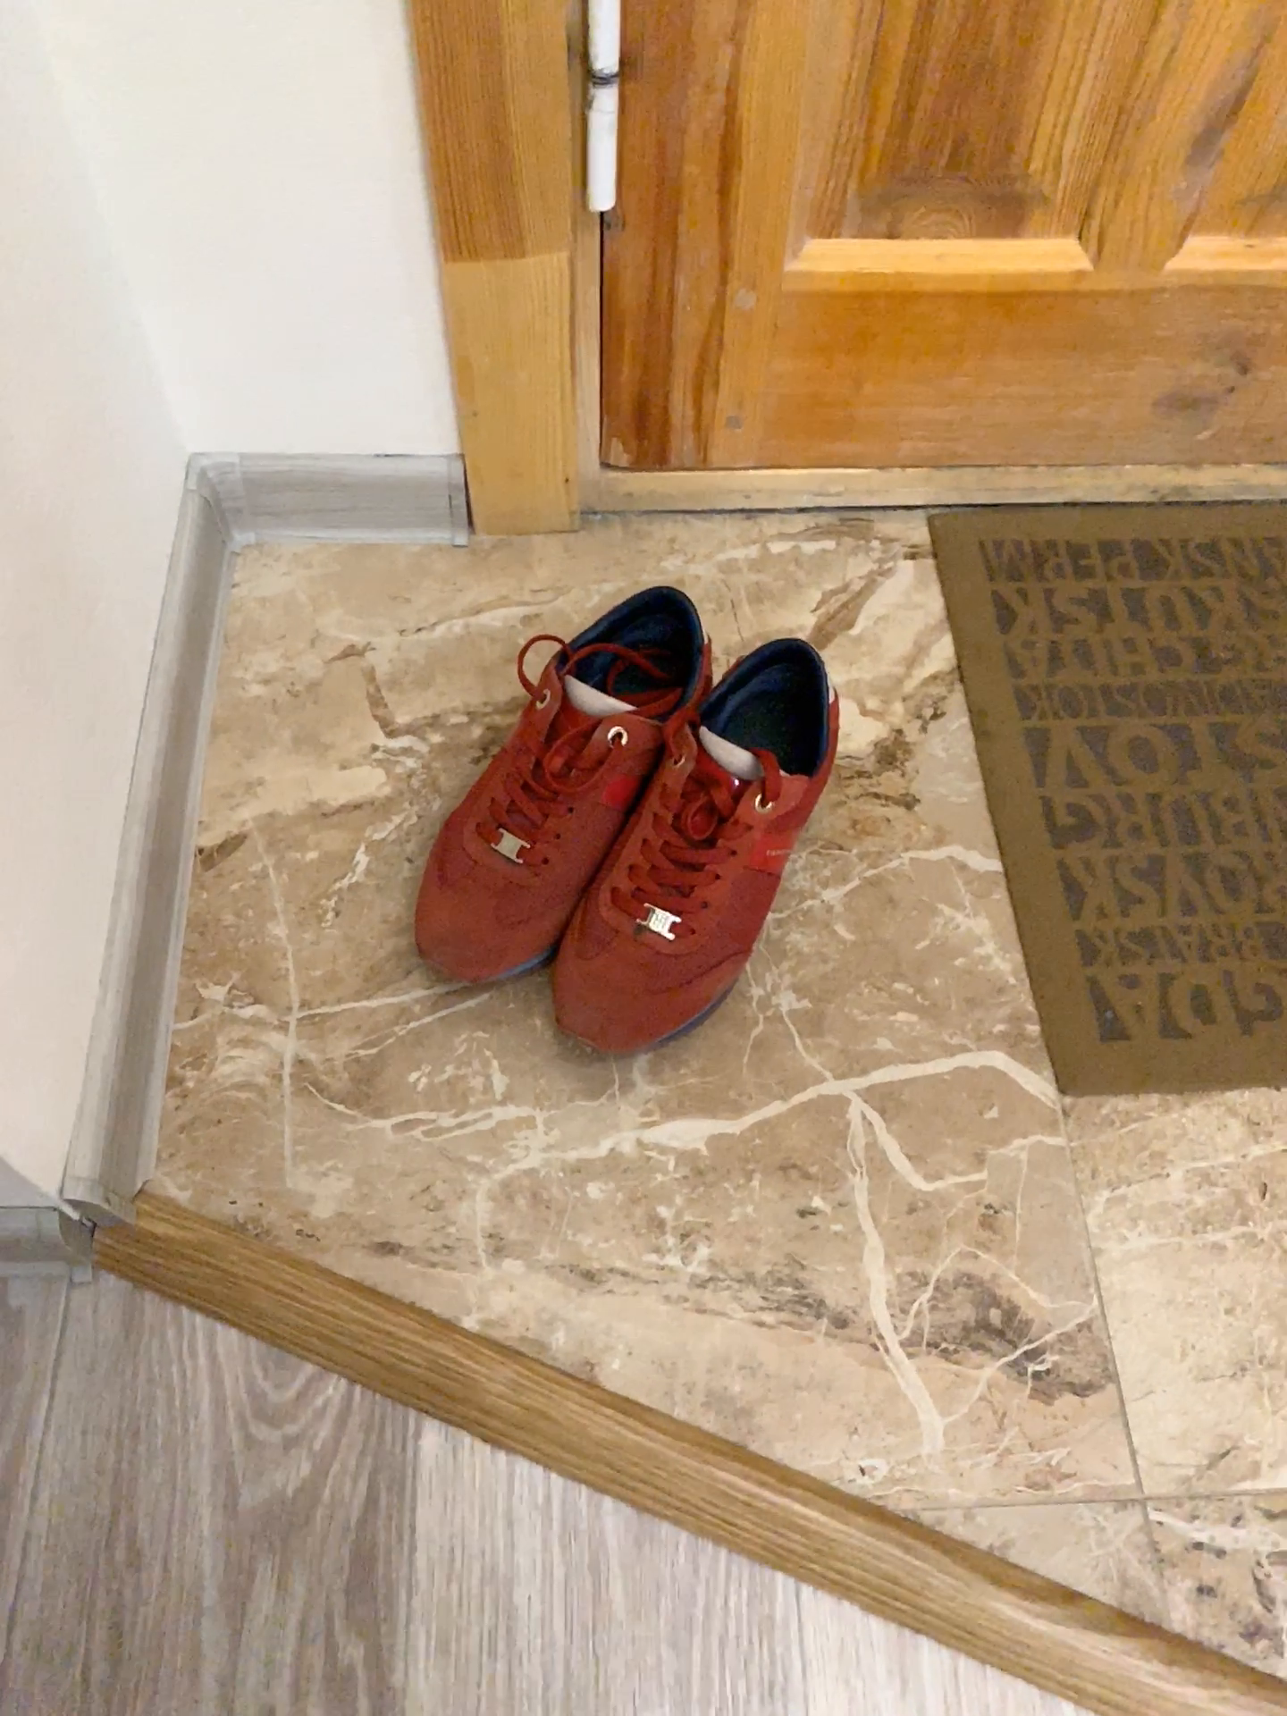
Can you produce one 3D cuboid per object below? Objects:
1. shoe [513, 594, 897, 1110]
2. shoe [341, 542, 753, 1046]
[{"bbox_3d":[0.035,-0.008,0.677,0.090,0.090,0.241,25,62,12],"label":"shoe"},{"bbox_3d":[-0.042,-0.038,0.685,0.090,0.090,0.241,26,62,13],"label":"shoe"}]
